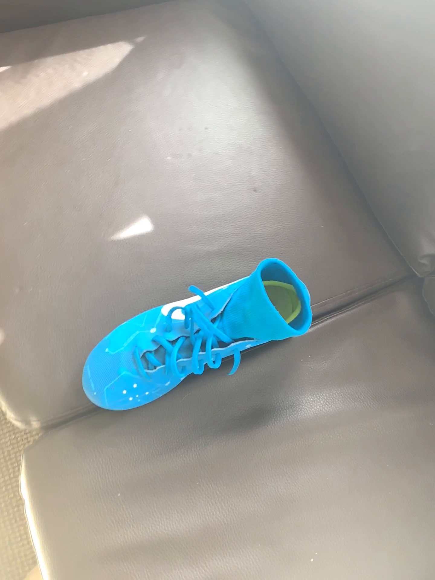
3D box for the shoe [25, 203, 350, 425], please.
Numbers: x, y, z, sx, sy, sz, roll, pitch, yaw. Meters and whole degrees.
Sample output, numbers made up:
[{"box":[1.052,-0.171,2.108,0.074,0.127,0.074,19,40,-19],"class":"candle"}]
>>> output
[{"box":[-0.025,0.029,0.423,0.250,0.120,0.098,-22,75,-9],"class":"shoe"}]
